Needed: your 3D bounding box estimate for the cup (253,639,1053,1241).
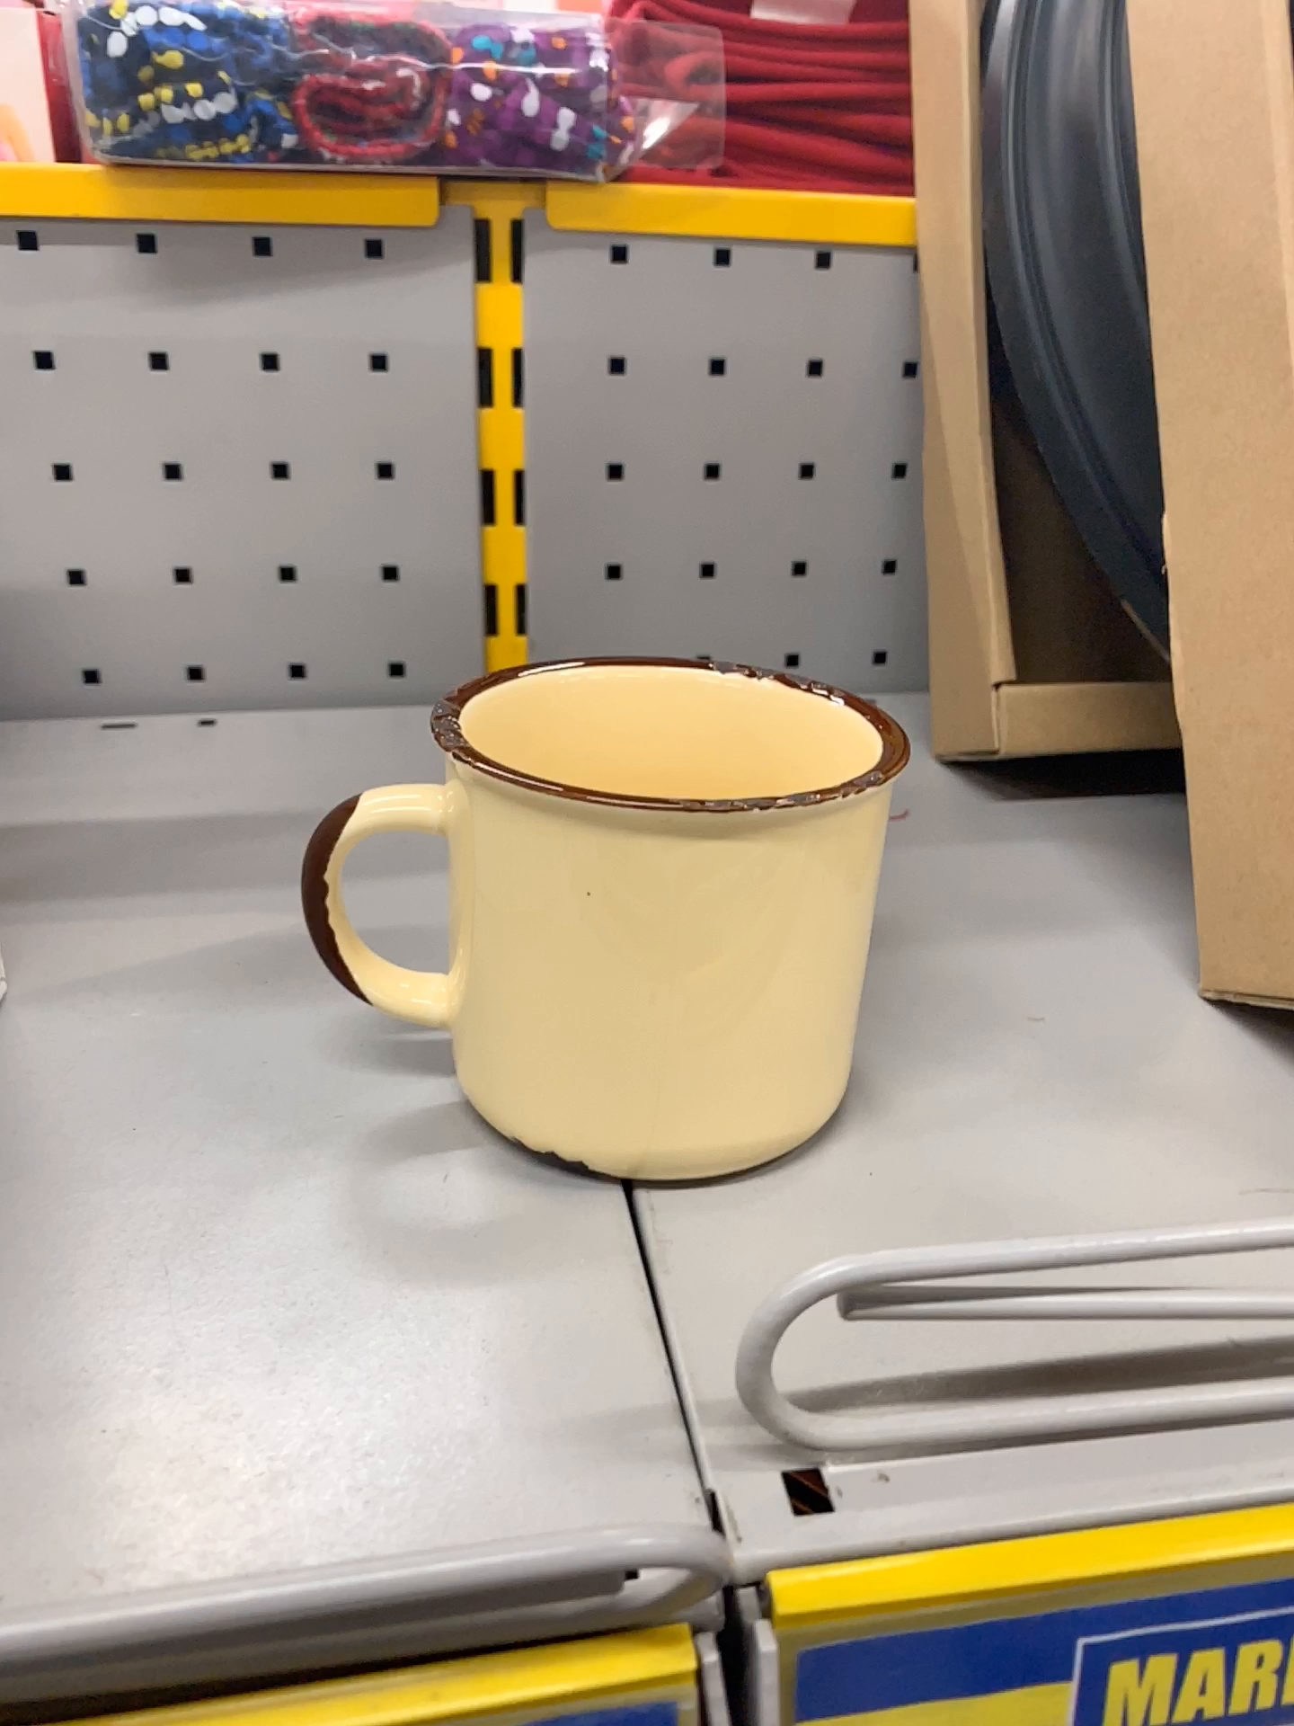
[{"bbox_3d":[-0.002,0.009,0.258,0.120,0.080,0.090,0,25,-5],"label":"cup"}]
